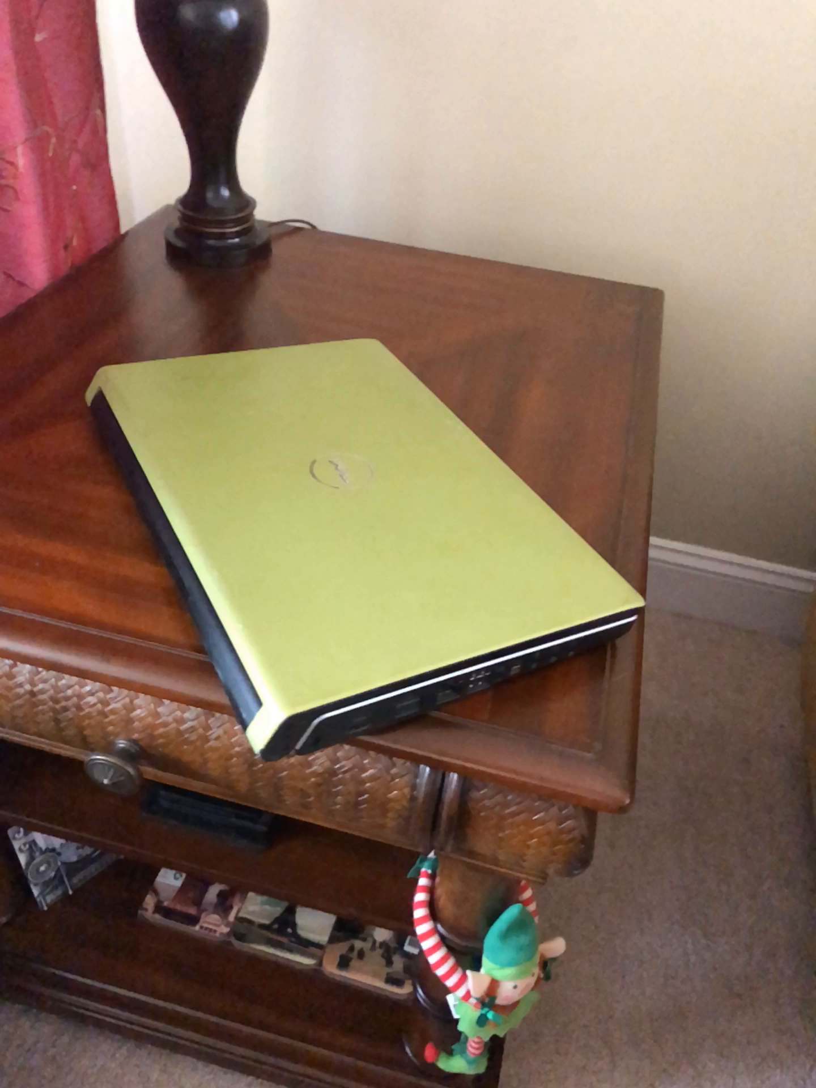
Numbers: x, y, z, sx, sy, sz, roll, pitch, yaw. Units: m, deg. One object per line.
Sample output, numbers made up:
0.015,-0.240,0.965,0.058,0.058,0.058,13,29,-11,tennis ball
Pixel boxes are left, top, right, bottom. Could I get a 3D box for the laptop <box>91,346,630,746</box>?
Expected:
-0.055,-0.038,0.632,0.237,0.020,0.379,-12,42,-27,laptop
